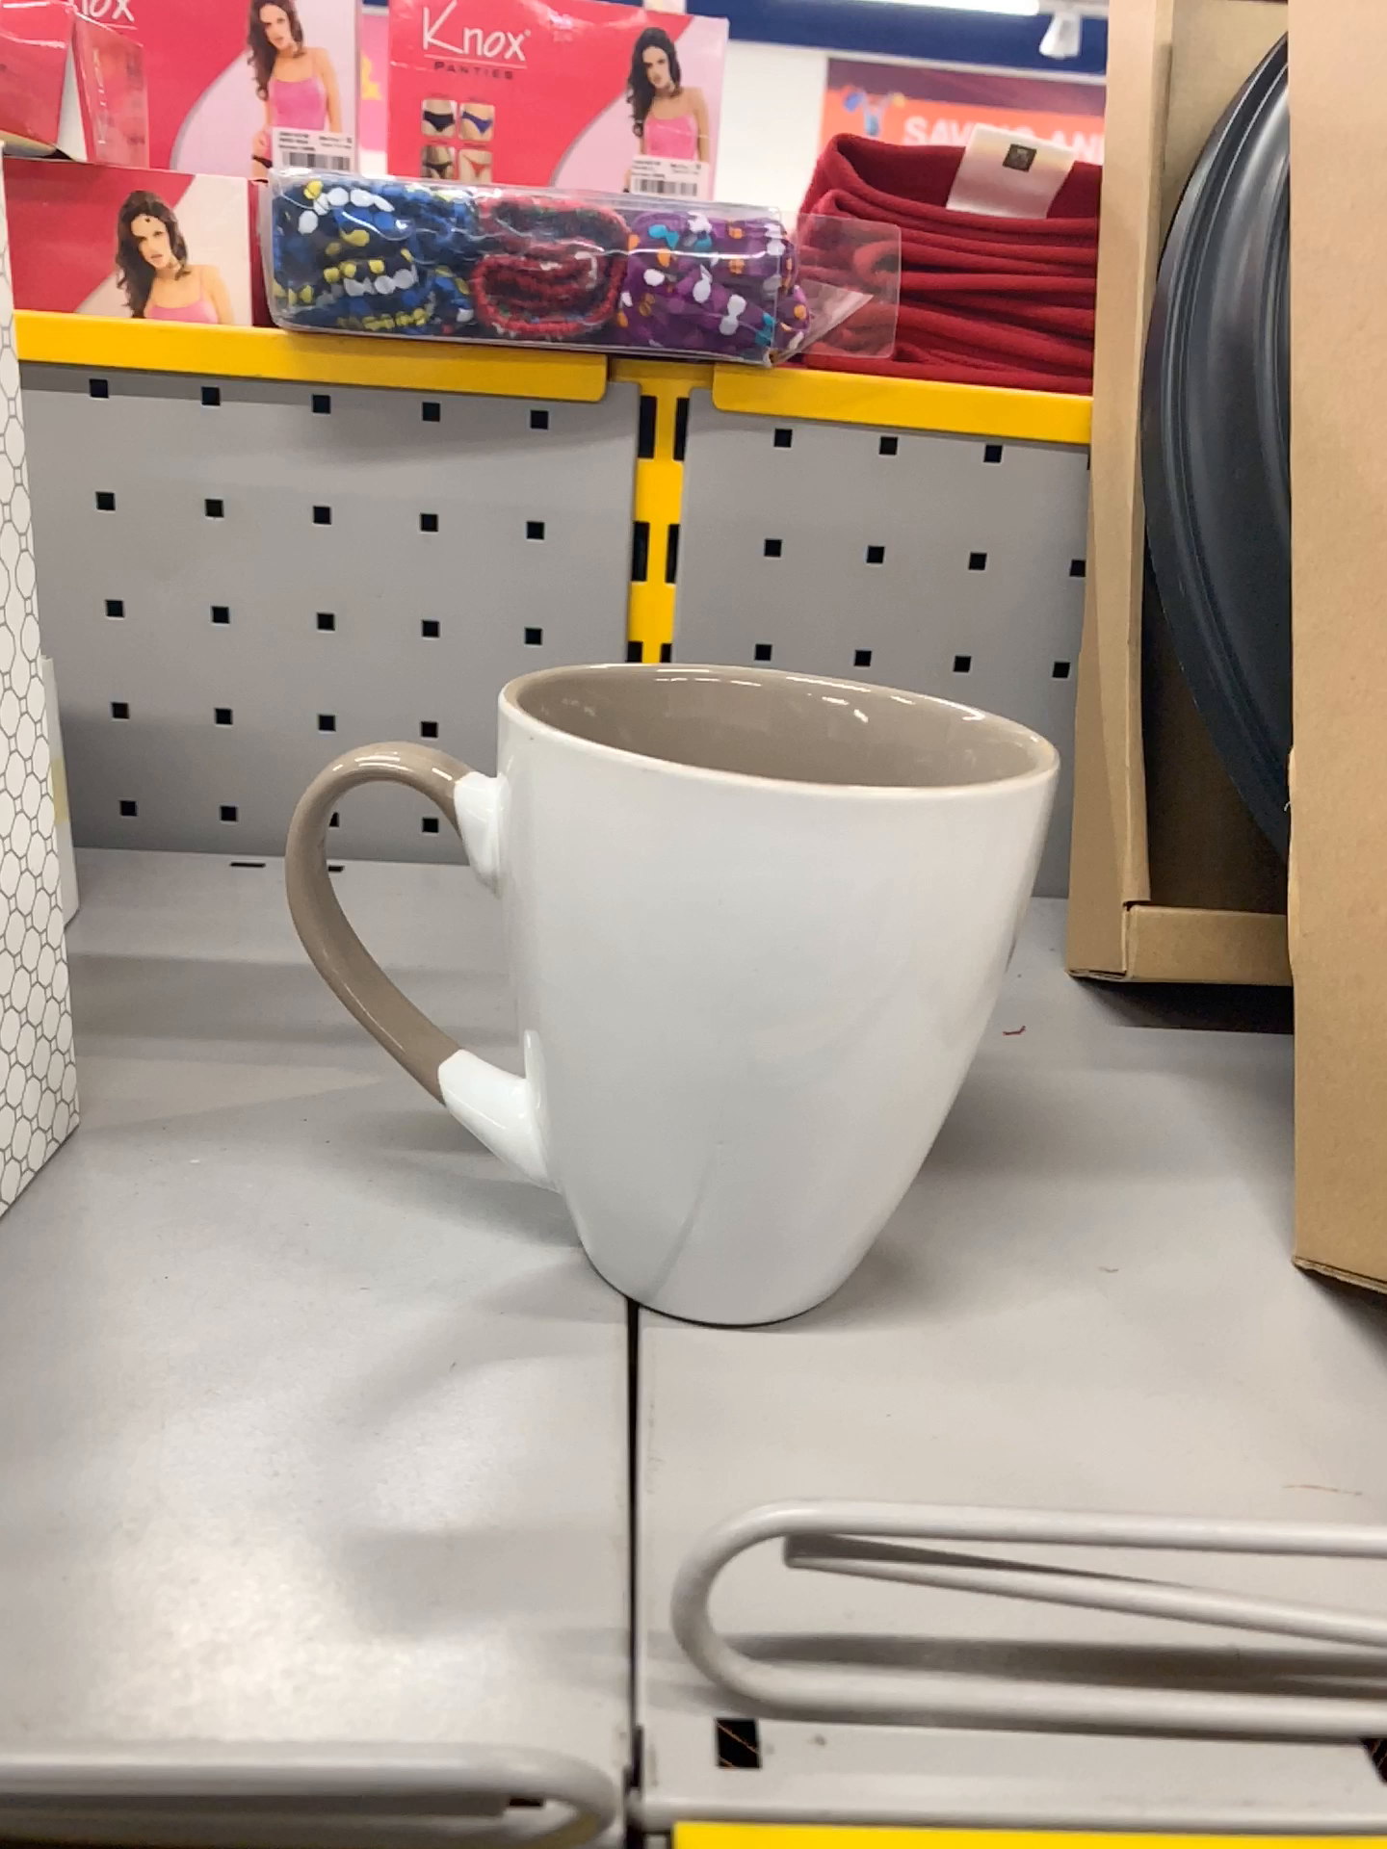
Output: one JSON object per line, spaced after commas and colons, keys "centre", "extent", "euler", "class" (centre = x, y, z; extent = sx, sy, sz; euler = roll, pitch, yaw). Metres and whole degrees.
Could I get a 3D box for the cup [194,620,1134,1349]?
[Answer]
{"centre": [-0.007, 0.004, 0.277], "extent": [0.140, 0.100, 0.100], "euler": [4, 21, -1], "class": "cup"}
